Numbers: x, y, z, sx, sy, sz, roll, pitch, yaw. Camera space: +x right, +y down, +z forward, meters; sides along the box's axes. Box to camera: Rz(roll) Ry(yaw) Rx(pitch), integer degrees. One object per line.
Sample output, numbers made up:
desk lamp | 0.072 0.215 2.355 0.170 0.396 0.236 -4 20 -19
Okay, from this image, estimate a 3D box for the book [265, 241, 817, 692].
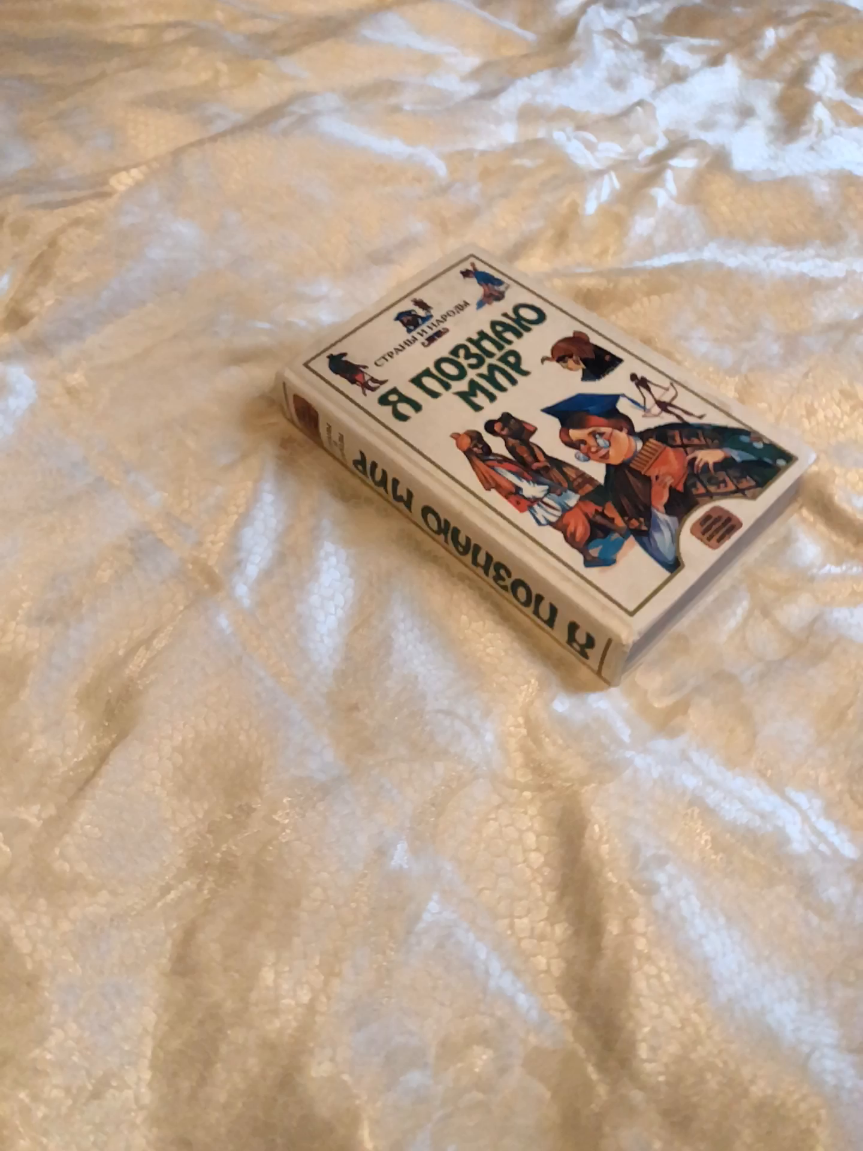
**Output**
book | 0.043 -0.061 0.424 0.198 0.037 0.134 39 63 24
